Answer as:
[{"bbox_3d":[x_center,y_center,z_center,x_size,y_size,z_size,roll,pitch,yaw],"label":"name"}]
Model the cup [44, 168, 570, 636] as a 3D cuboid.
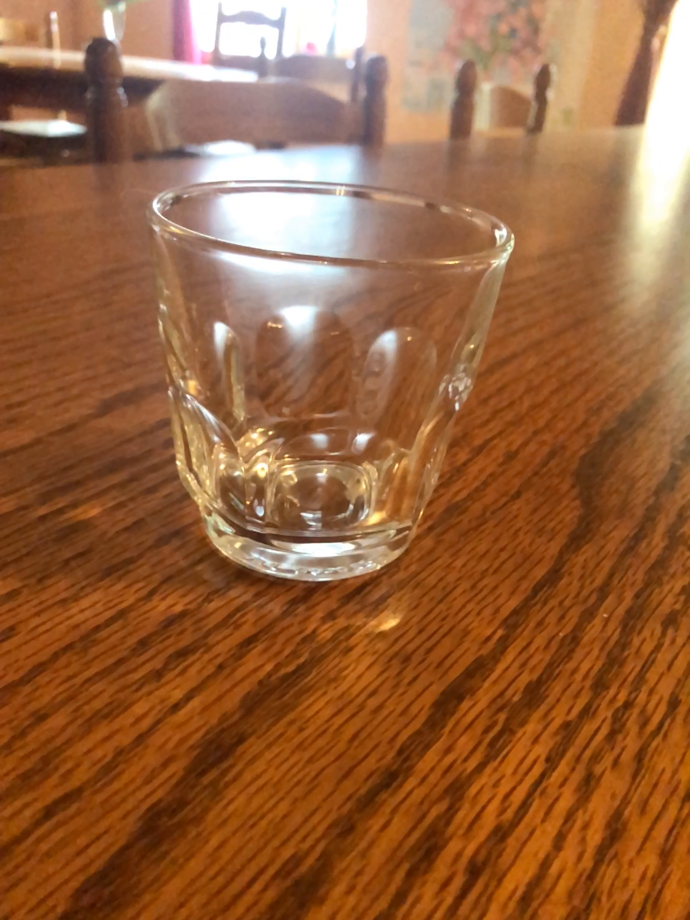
[{"bbox_3d":[-0.006,-0.024,0.184,0.083,0.069,0.083,4,28,-2],"label":"cup"}]
